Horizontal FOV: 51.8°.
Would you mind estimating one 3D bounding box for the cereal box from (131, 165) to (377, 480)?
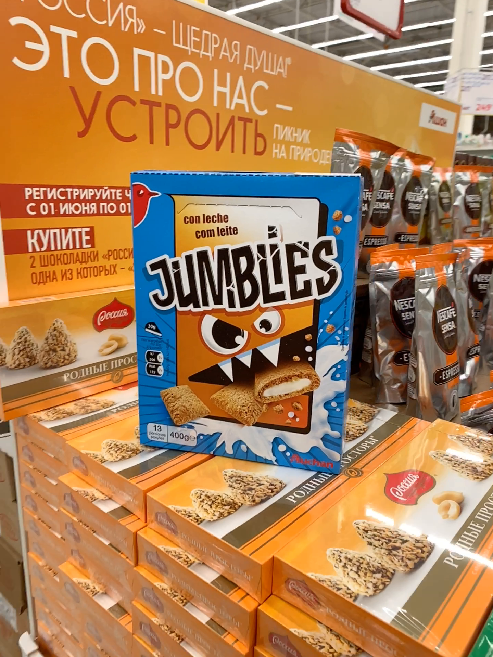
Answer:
[{"bbox_3d":[0.004,-0.010,0.462,0.200,0.259,0.060,5,14,14],"label":"cereal box"}]
